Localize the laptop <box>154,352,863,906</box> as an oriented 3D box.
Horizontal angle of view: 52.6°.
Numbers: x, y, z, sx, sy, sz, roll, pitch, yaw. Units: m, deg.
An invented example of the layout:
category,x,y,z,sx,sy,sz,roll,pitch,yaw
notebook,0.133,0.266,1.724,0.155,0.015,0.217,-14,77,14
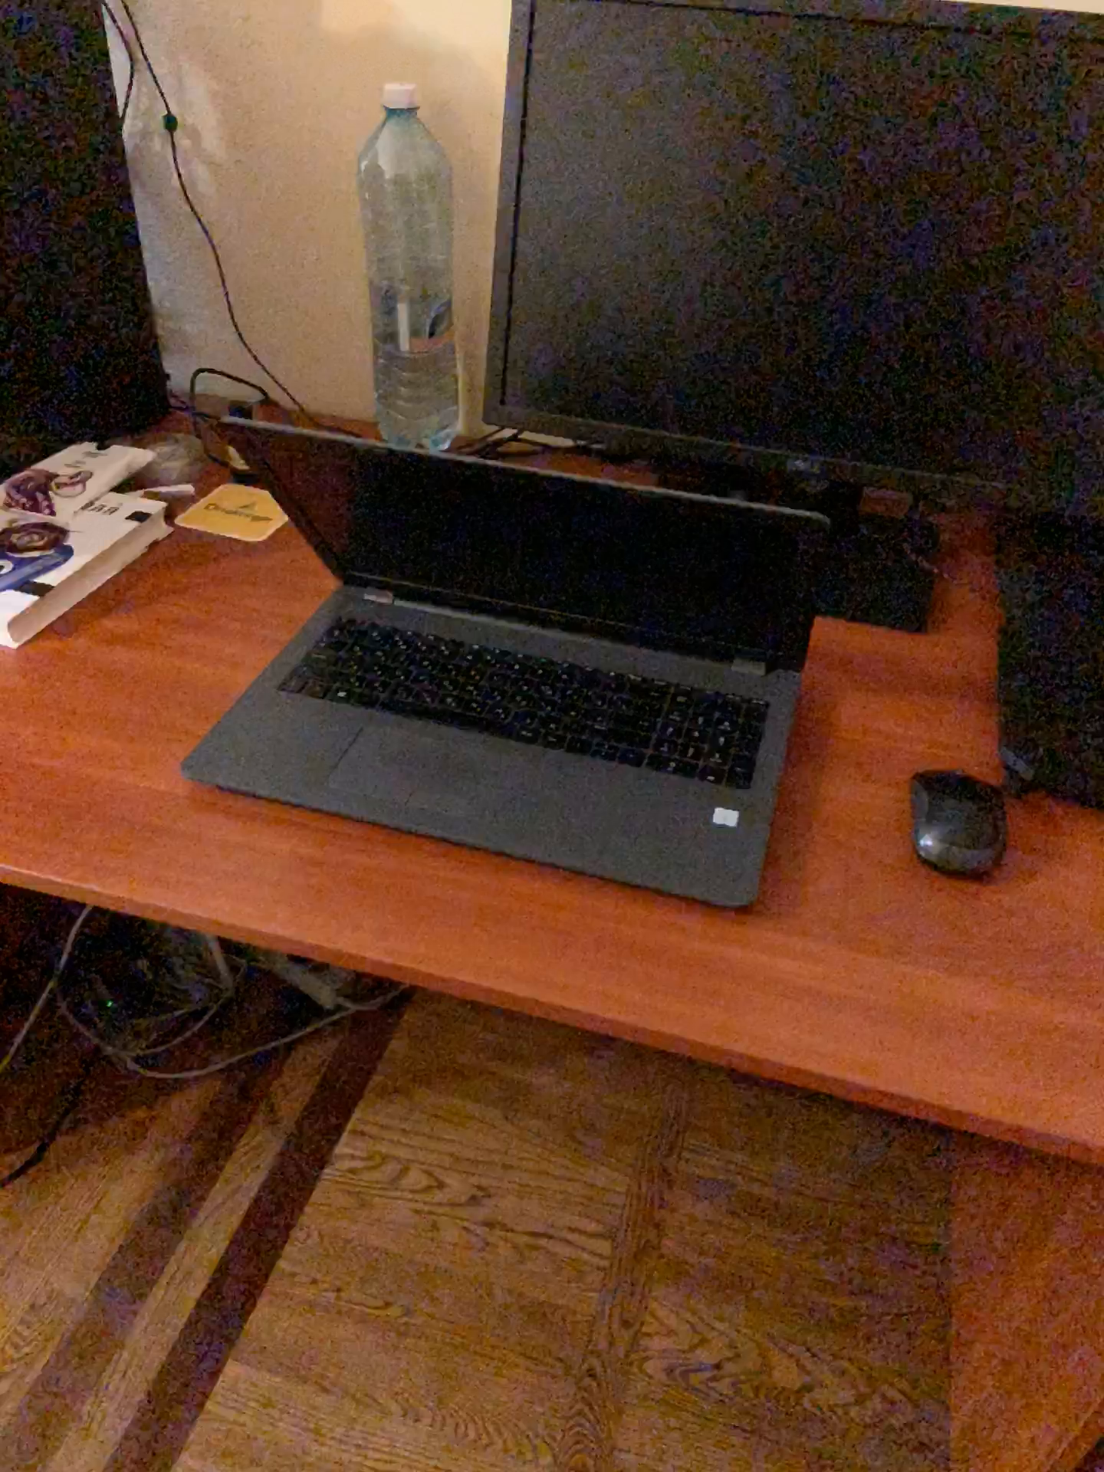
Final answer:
category,x,y,z,sx,sy,sz,roll,pitch,yaw
laptop,-0.013,-0.085,0.704,0.359,0.191,0.233,12,39,12
